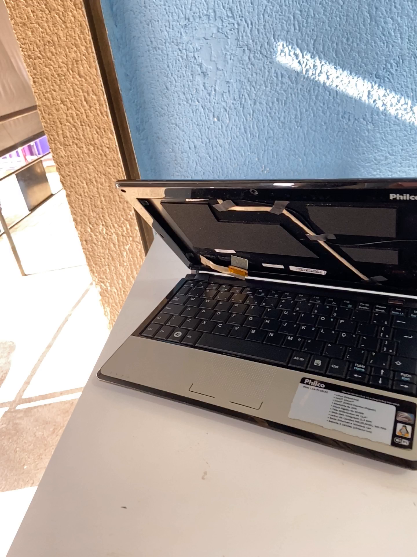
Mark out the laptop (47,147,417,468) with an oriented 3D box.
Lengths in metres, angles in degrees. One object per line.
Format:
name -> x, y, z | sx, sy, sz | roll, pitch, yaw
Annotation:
laptop -> 0.042, -0.004, 0.370 | 0.275, 0.144, 0.177 | 6, 34, 28
